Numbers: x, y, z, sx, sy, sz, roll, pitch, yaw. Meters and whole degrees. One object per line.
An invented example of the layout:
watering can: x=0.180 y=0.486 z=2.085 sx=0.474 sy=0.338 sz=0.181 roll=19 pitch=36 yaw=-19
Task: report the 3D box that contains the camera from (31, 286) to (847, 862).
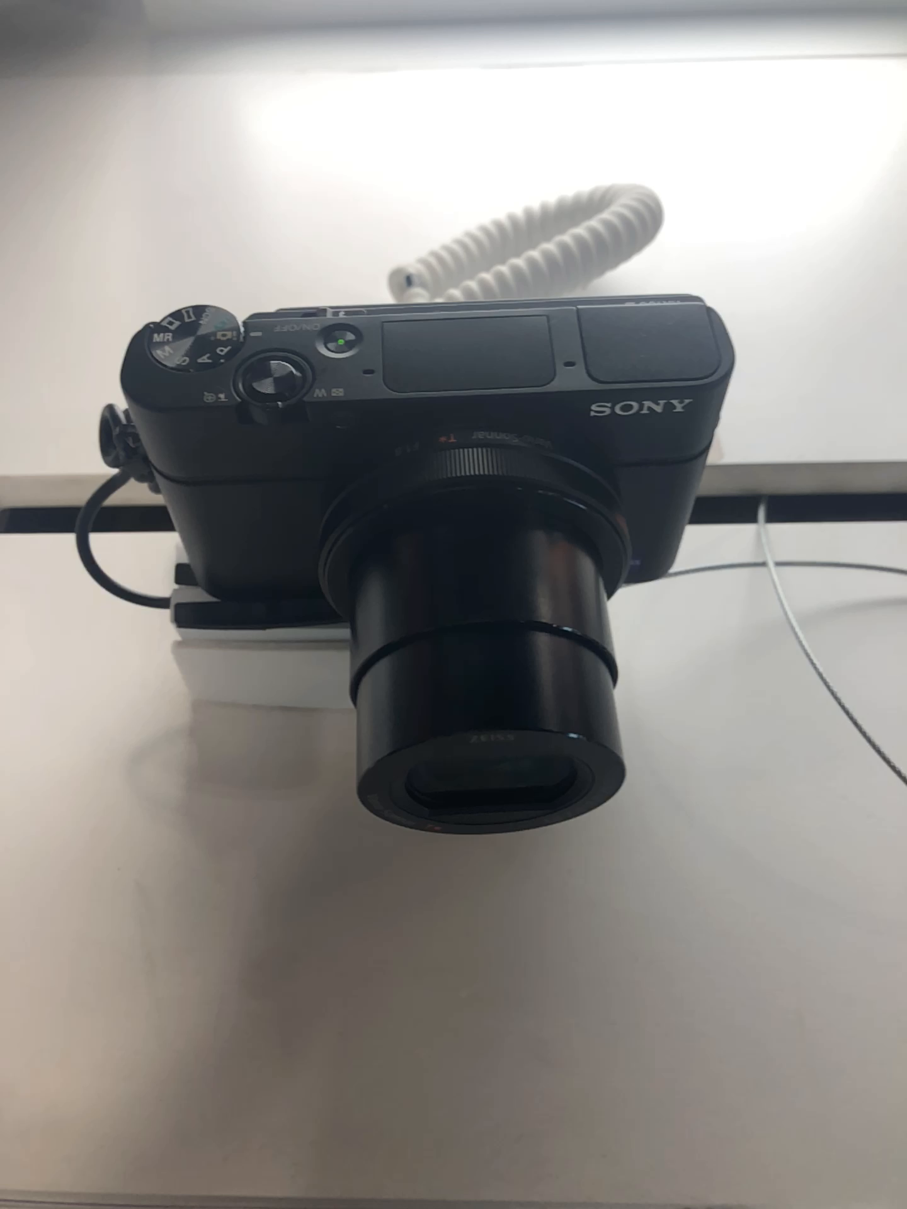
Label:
camera: x=-0.001 y=-0.002 z=0.180 sx=0.105 sy=0.074 sz=0.070 roll=-1 pitch=54 yaw=2
